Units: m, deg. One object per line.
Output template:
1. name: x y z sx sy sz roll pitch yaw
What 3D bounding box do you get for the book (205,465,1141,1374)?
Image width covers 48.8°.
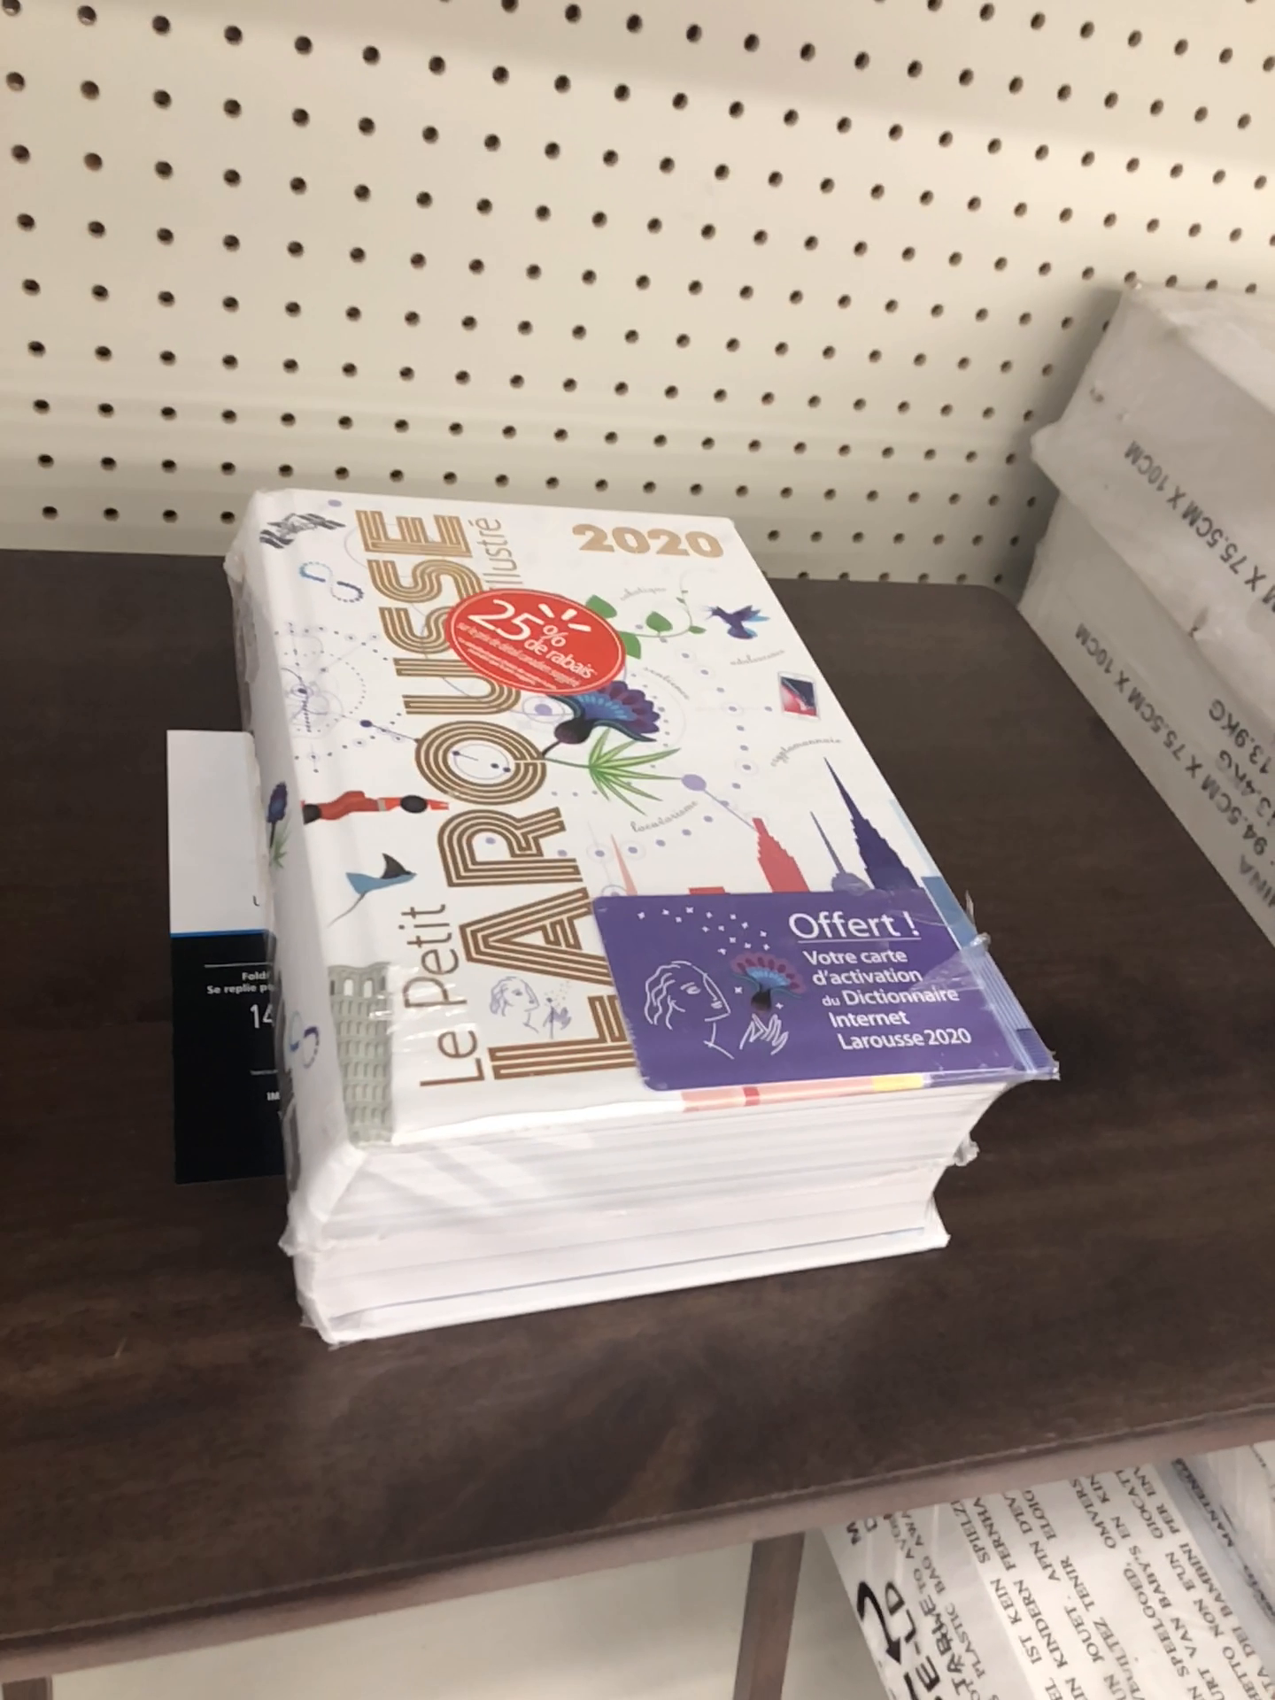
1. book: -0.015 -0.005 0.361 0.170 0.069 0.232 -2 44 -20
